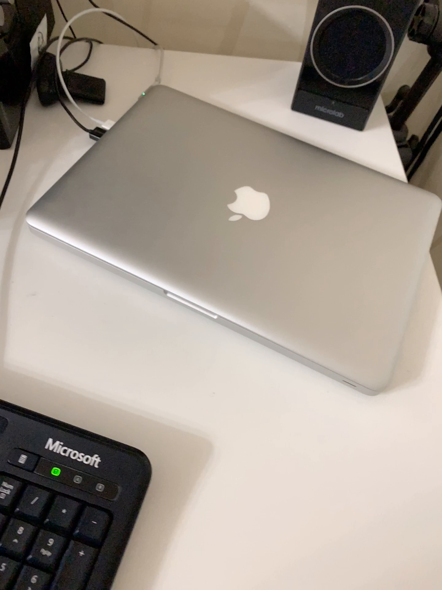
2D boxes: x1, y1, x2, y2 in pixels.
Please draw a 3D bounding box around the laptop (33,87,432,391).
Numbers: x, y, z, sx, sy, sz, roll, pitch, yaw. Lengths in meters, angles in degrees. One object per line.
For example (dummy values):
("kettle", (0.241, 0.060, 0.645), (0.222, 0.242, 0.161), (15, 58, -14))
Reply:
("laptop", (0.020, -0.075, 0.415), (0.304, 0.011, 0.208), (25, 61, 10))
